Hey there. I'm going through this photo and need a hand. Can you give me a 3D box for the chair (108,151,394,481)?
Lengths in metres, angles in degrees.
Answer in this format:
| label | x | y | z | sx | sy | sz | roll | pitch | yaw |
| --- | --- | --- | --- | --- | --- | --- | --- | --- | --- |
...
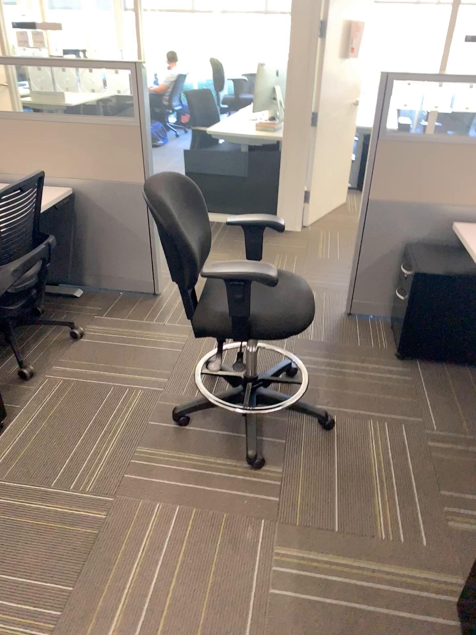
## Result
| label | x | y | z | sx | sy | sz | roll | pitch | yaw |
| --- | --- | --- | --- | --- | --- | --- | --- | --- | --- |
| chair | 0.062 | -0.053 | 1.977 | 0.820 | 1.004 | 0.805 | 5 | 30 | 6 |
